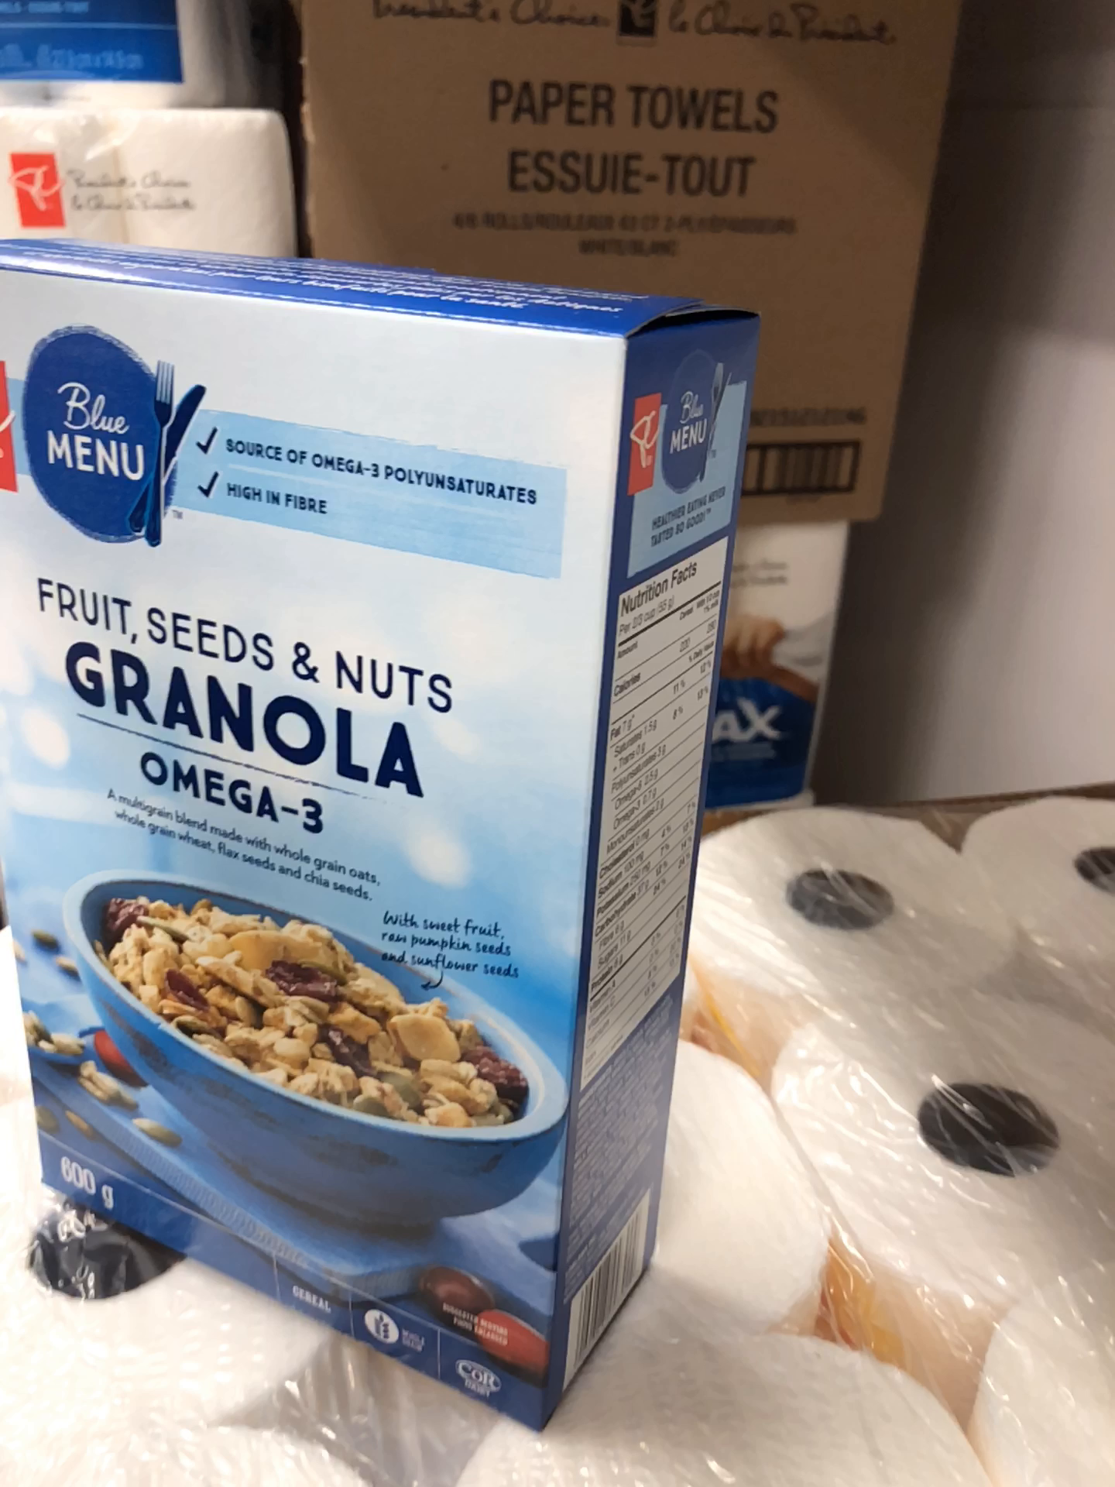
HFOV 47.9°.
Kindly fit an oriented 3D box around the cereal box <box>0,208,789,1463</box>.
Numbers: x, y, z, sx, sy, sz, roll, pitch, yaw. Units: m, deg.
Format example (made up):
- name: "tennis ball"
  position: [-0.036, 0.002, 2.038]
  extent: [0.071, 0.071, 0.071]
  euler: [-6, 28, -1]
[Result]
- name: "cereal box"
  position: [-0.049, 0.015, 0.279]
  extent: [0.160, 0.239, 0.060]
  euler: [15, 26, 25]
